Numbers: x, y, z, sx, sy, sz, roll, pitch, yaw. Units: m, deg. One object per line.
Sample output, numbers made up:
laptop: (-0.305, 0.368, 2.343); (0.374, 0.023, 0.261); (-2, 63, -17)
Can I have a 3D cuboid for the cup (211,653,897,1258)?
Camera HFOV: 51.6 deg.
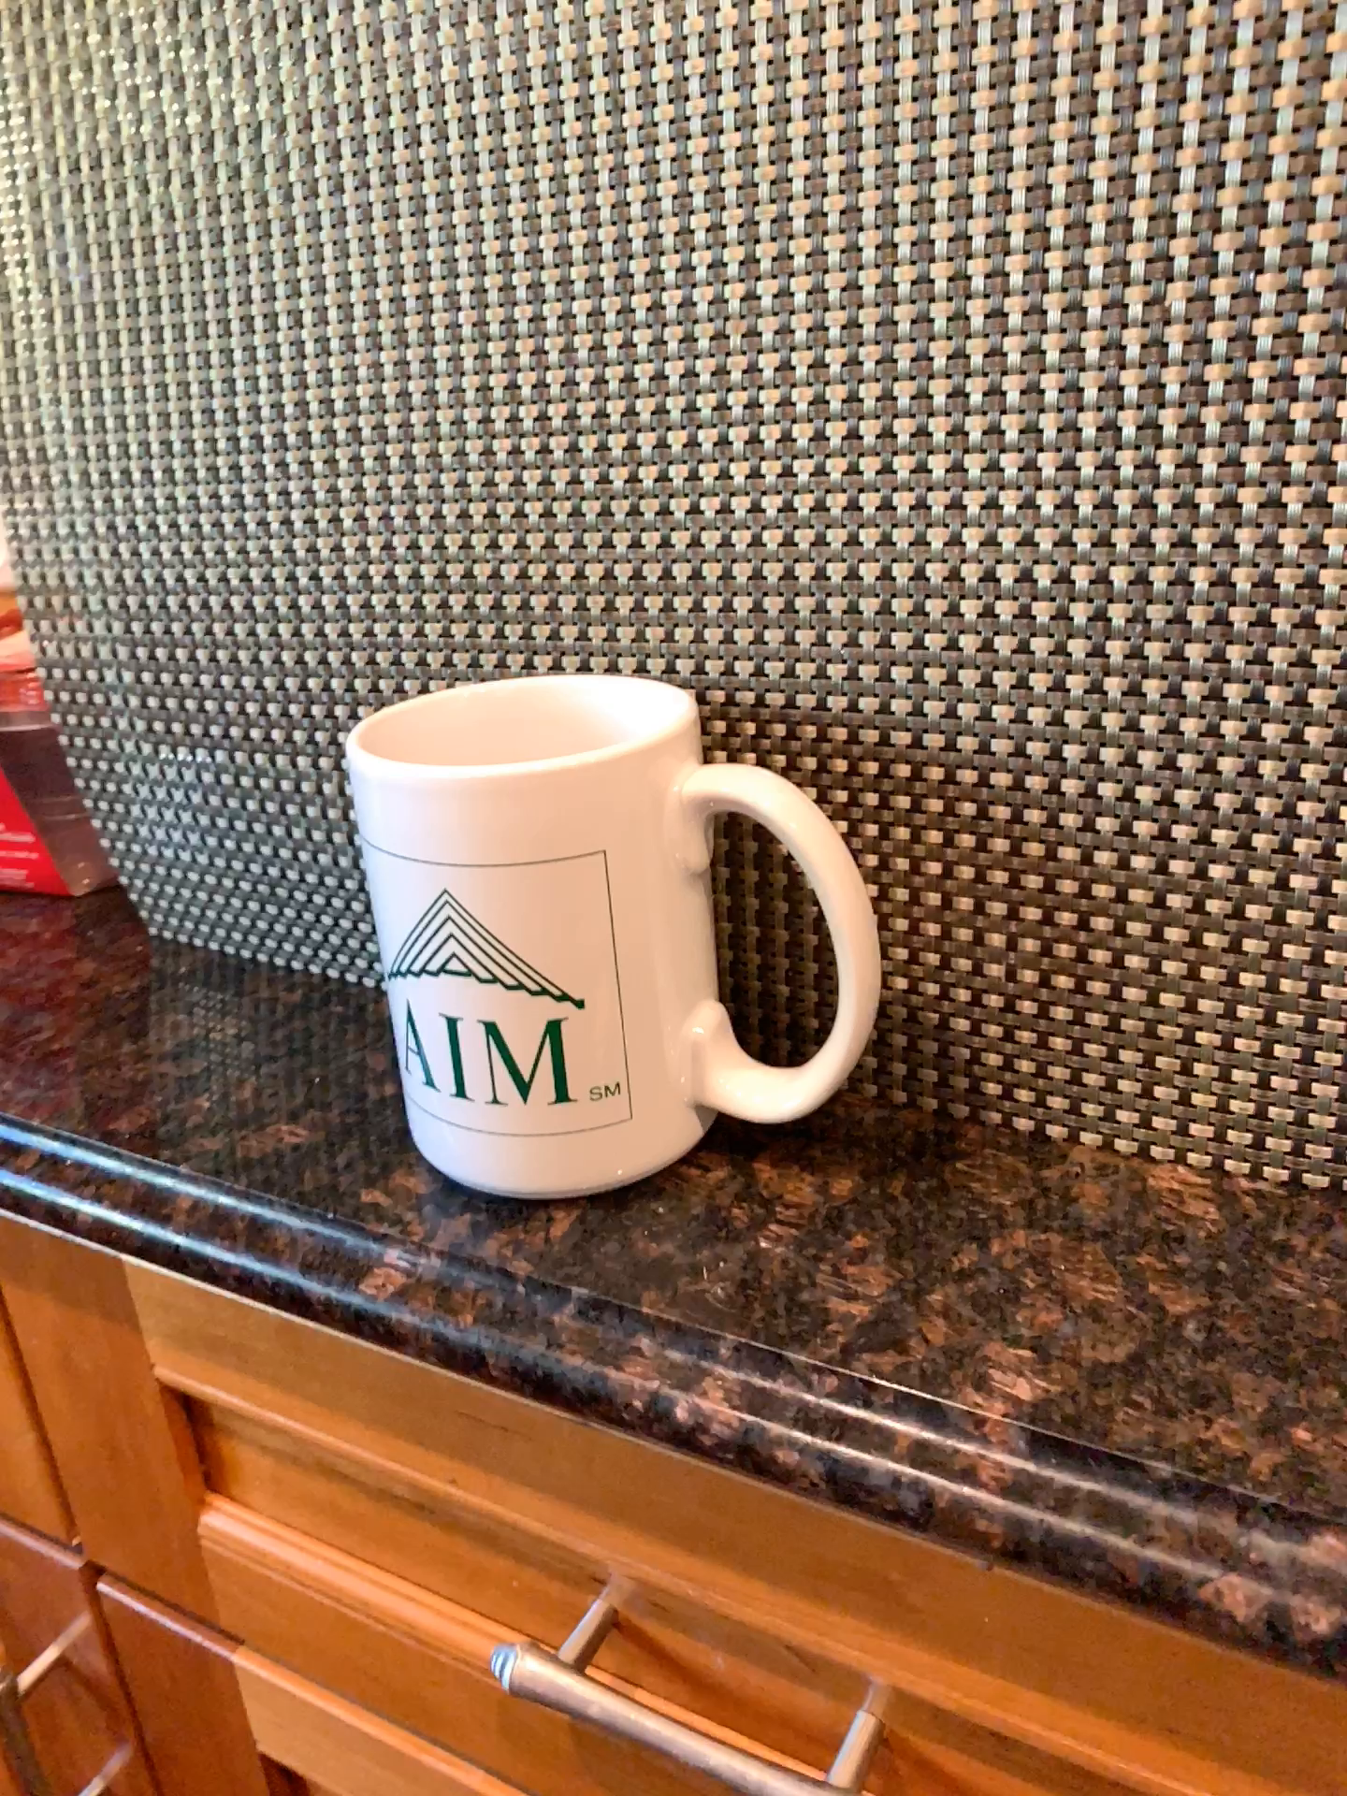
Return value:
cup: (-0.020, 0.005, 0.339); (0.130, 0.109, 0.090); (4, 23, 20)
